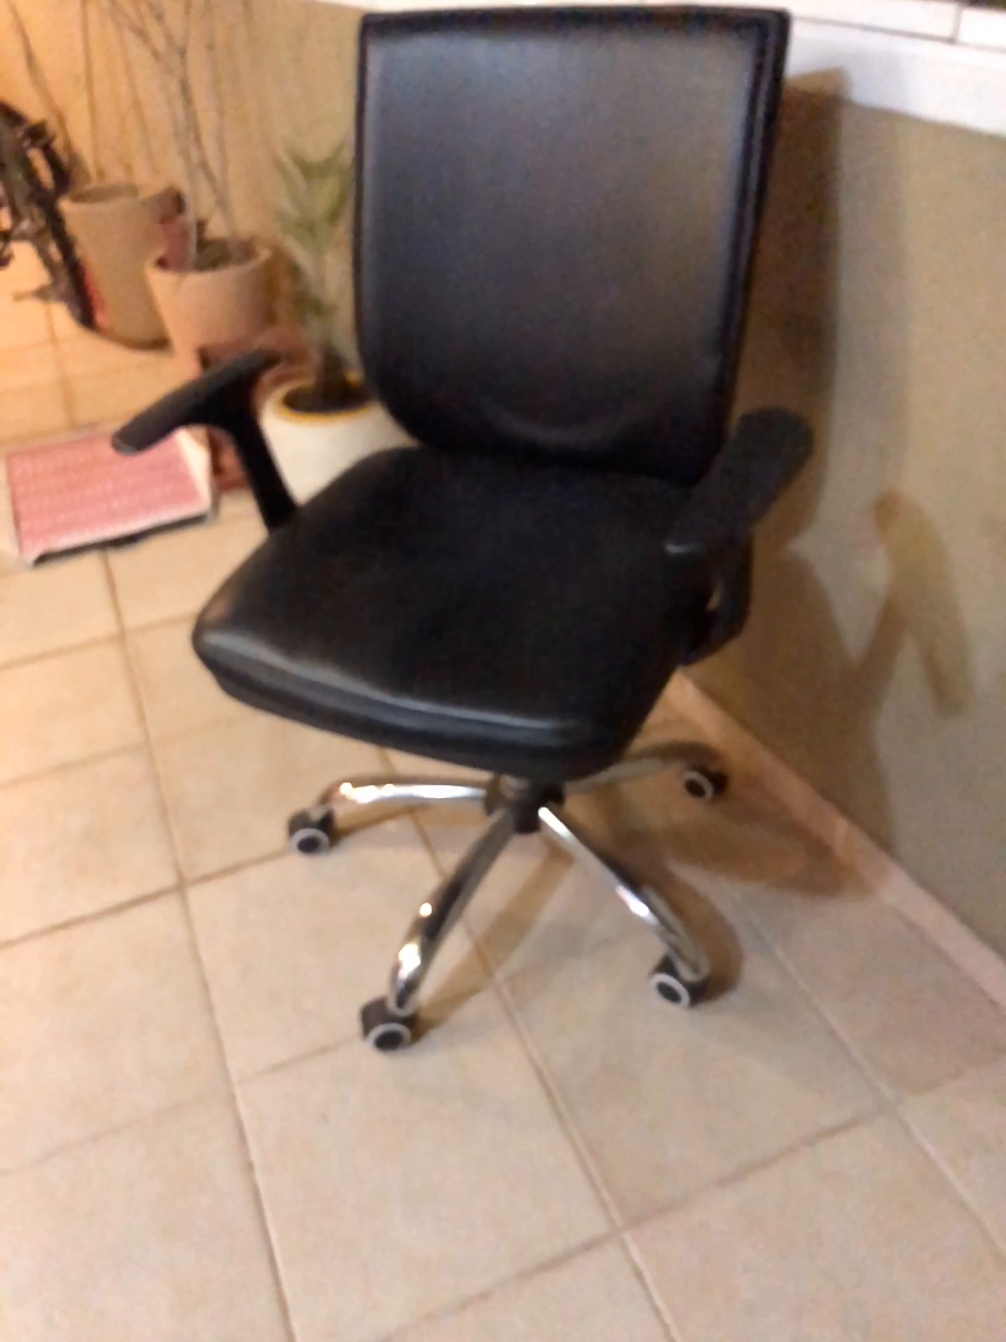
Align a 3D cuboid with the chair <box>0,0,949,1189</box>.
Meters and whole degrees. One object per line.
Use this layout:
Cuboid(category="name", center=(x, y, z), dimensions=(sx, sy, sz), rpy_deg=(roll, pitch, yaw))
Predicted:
Cuboid(category="chair", center=(-0.008, -0.126, 1.184), dimensions=(0.661, 0.932, 0.664), rpy_deg=(14, 41, 24))
